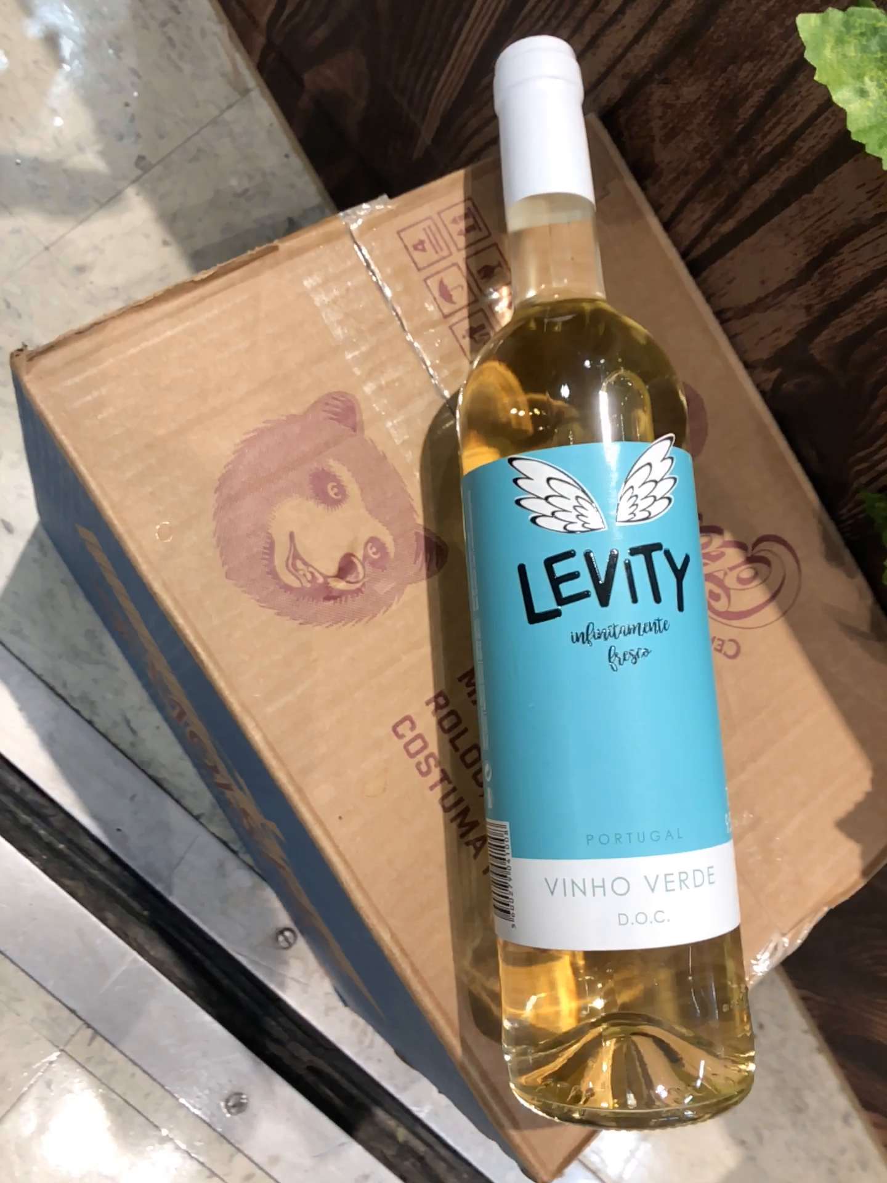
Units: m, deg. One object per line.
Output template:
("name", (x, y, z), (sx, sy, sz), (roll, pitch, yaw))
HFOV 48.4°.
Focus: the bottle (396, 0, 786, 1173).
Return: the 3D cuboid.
("bottle", (0.039, -0.025, 0.295), (0.080, 0.050, 0.340), (-1, 84, -21))
